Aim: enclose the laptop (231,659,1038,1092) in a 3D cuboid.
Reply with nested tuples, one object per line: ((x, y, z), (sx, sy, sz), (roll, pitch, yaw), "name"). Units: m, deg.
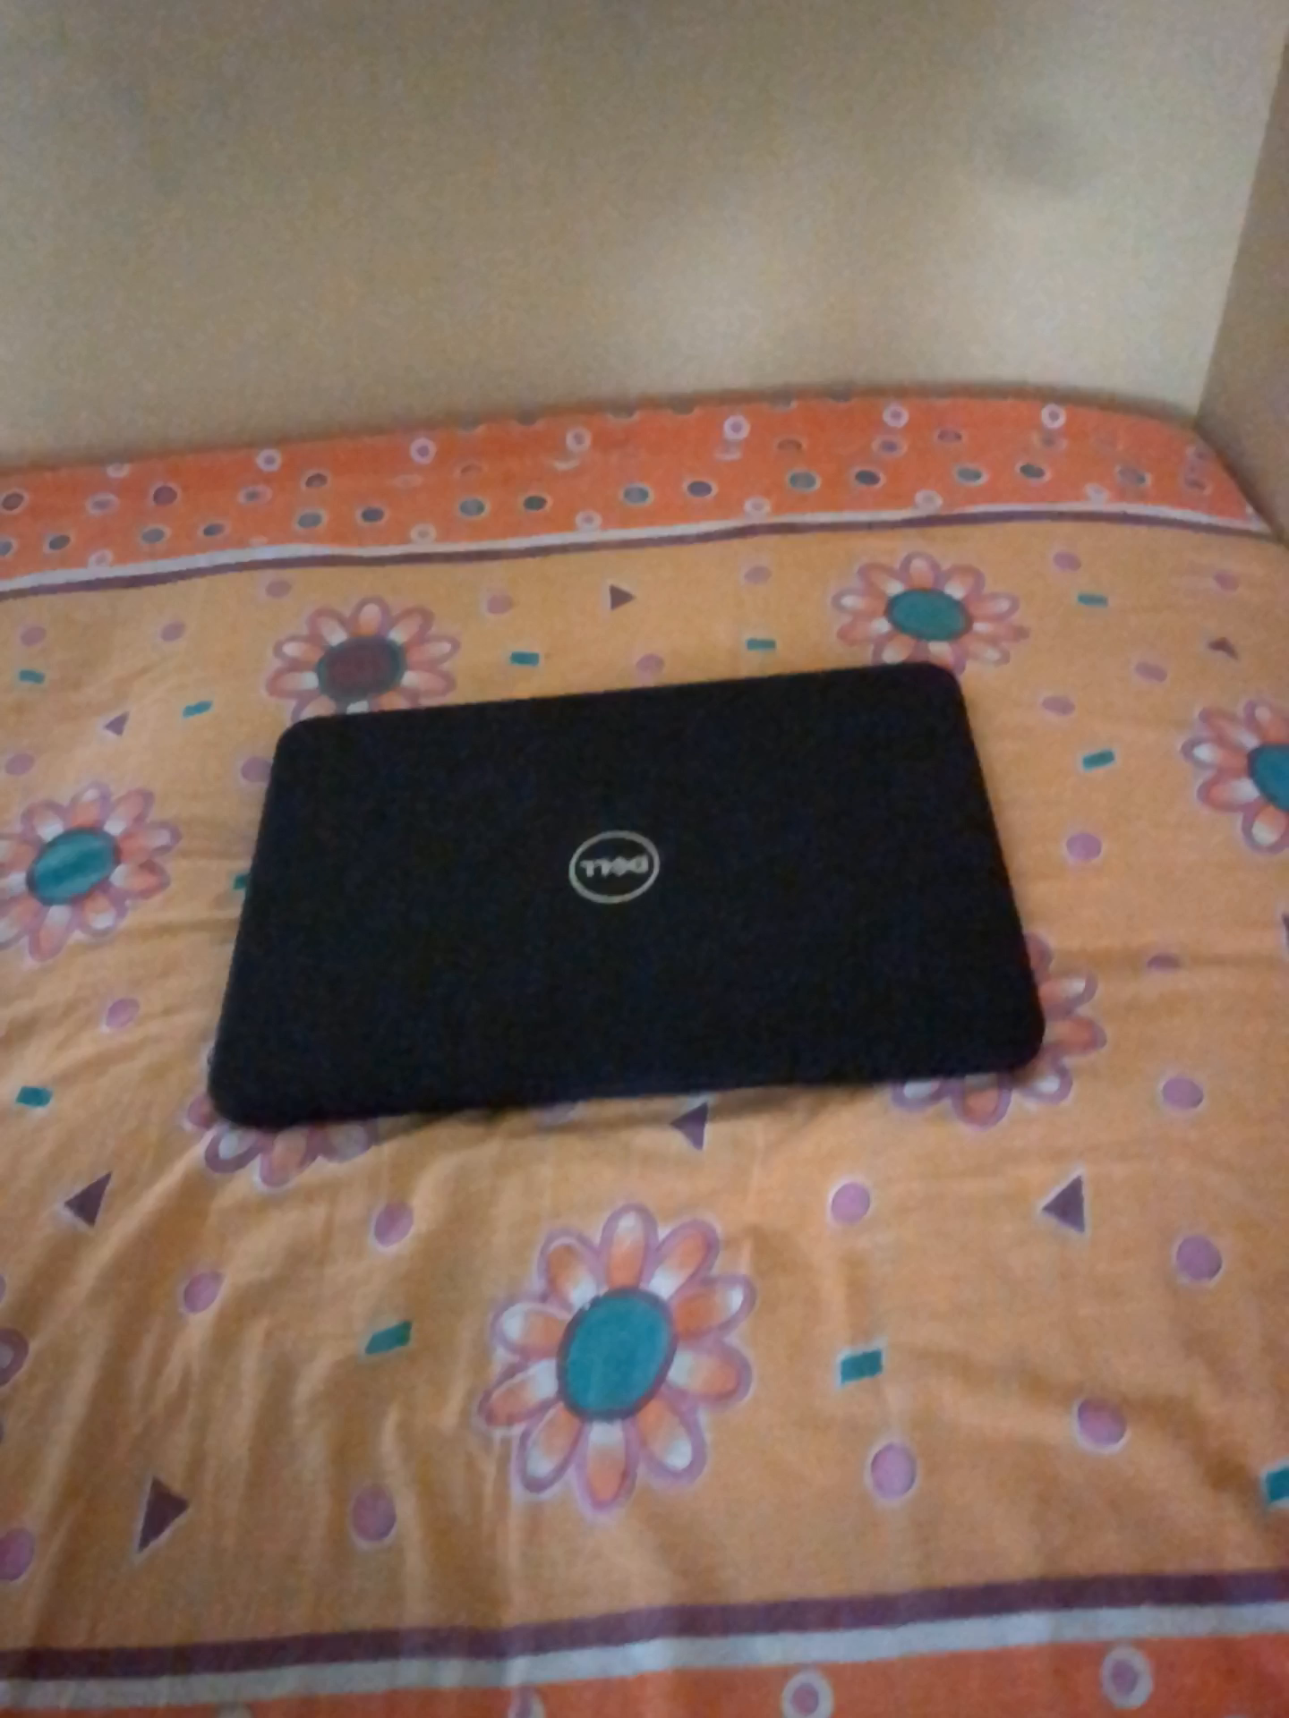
((-0.014, -0.002, 0.704), (0.358, 0.001, 0.236), (-5, 51, 3), "laptop")
